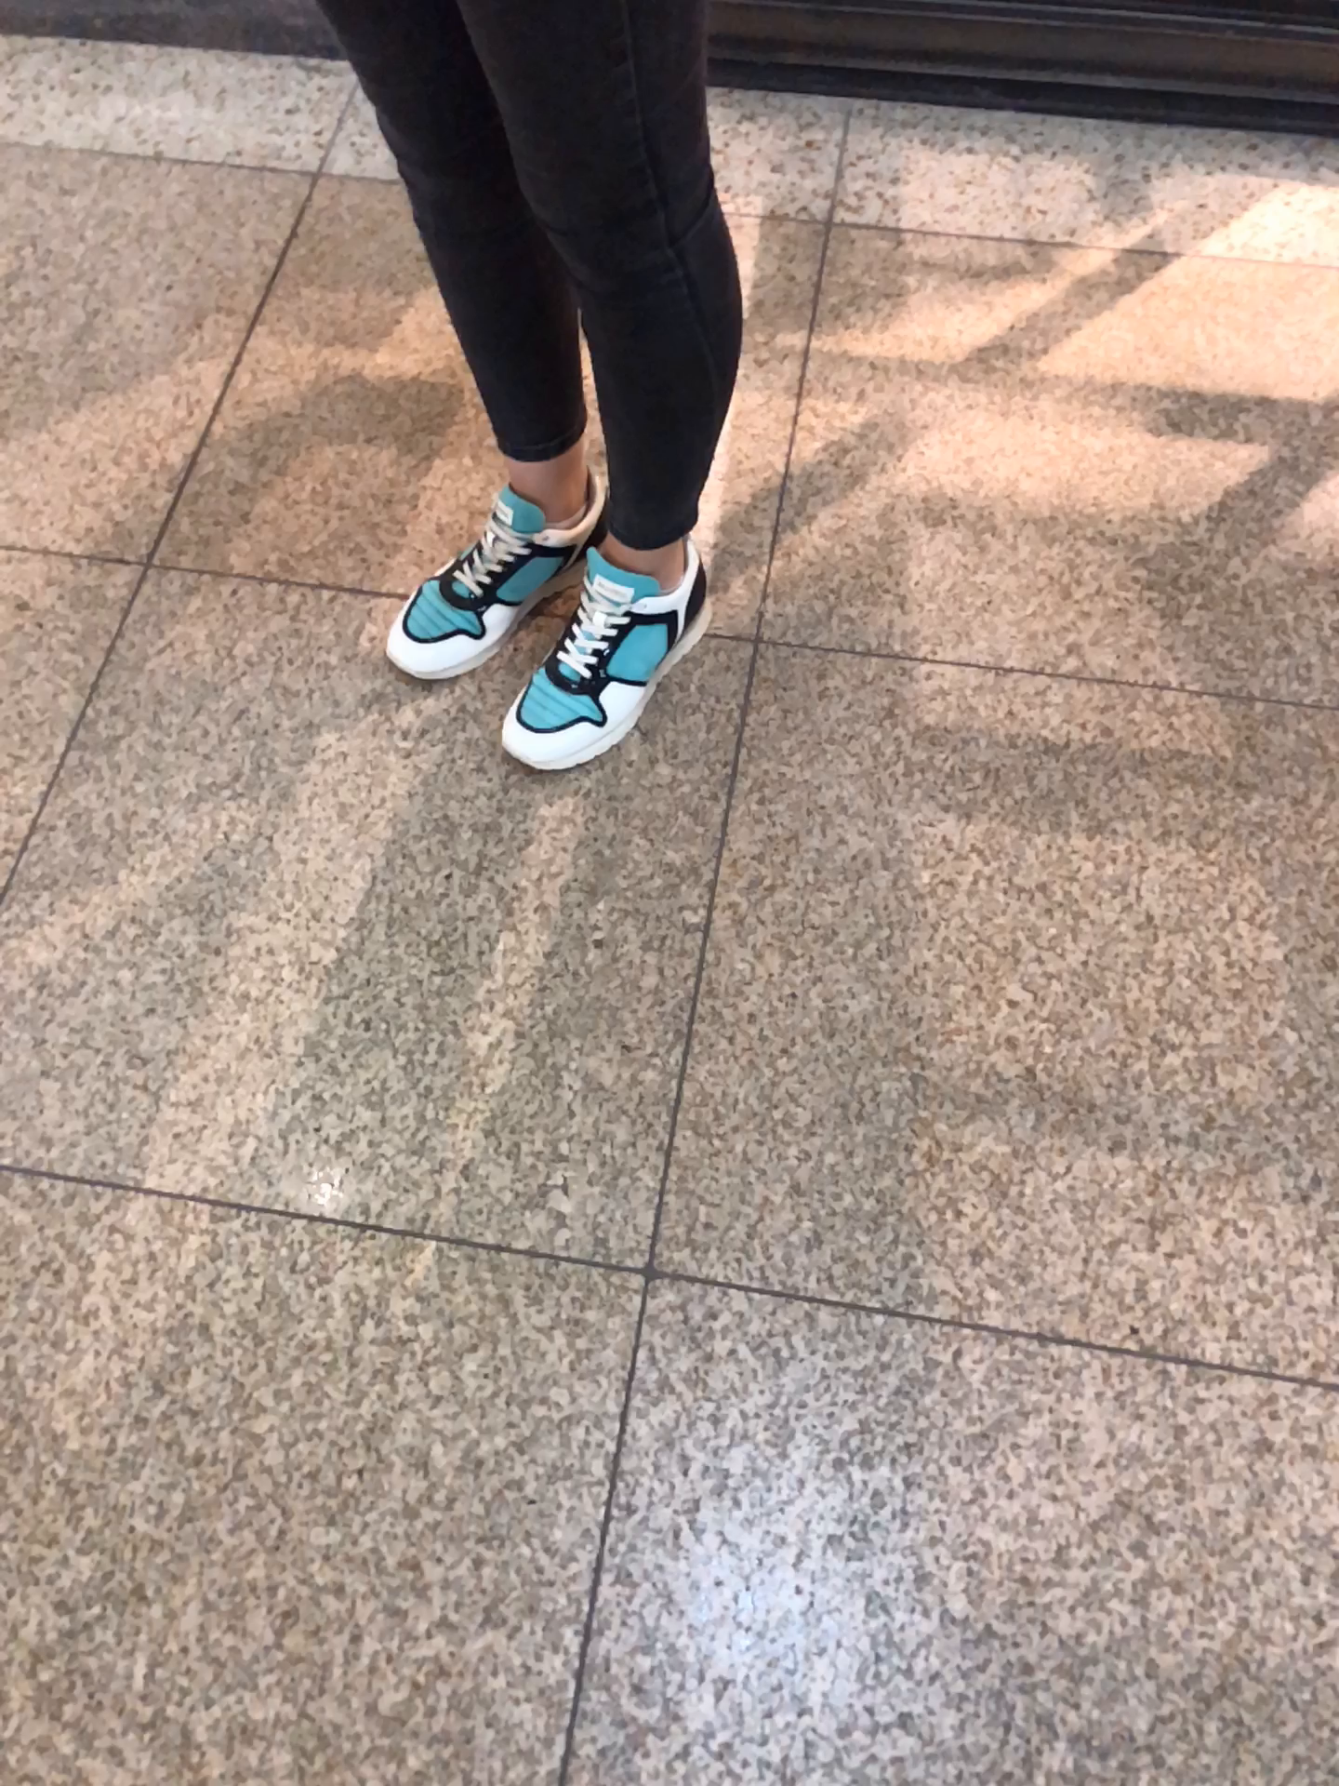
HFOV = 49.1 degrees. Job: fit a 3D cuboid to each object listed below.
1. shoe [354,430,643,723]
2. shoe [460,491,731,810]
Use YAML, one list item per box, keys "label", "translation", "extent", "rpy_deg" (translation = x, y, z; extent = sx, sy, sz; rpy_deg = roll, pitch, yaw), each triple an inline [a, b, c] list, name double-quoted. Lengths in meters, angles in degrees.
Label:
- label: "shoe"
  translation: [-0.148, -0.287, 1.327]
  extent: [0.240, 0.120, 0.100]
  rpy_deg: [-41, 67, -19]
- label: "shoe"
  translation: [-0.057, -0.211, 1.270]
  extent: [0.100, 0.120, 0.240]
  rpy_deg: [32, 66, 18]
